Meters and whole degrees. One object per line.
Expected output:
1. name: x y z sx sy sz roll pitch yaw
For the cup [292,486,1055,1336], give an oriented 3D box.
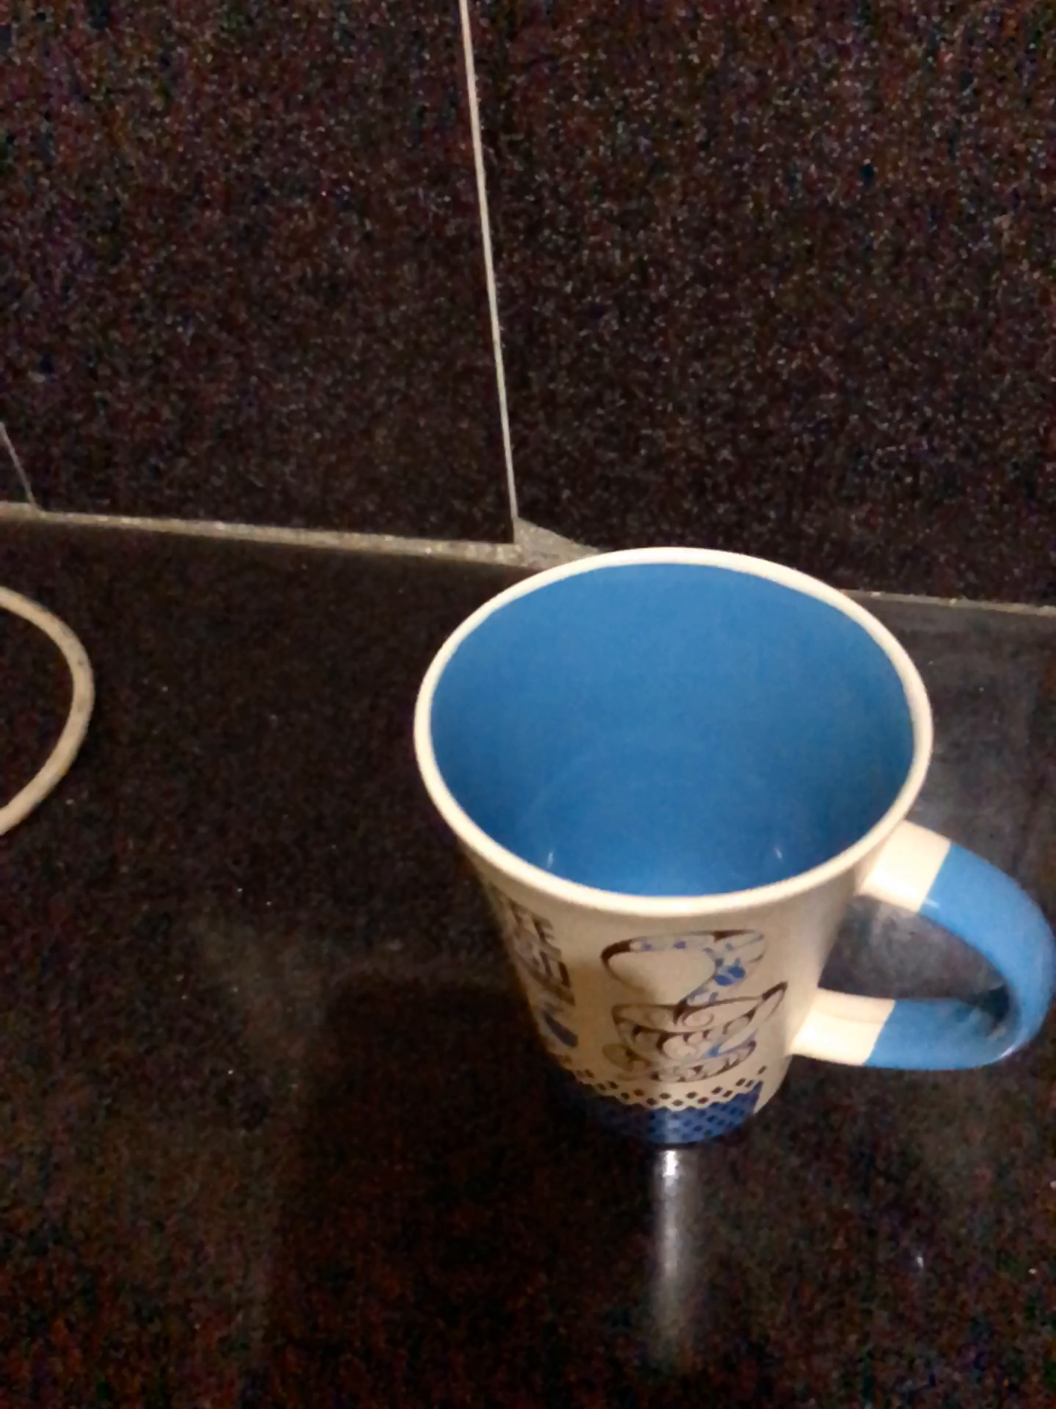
1. cup: 0.042 0.038 0.241 0.130 0.109 0.091 16 48 20
